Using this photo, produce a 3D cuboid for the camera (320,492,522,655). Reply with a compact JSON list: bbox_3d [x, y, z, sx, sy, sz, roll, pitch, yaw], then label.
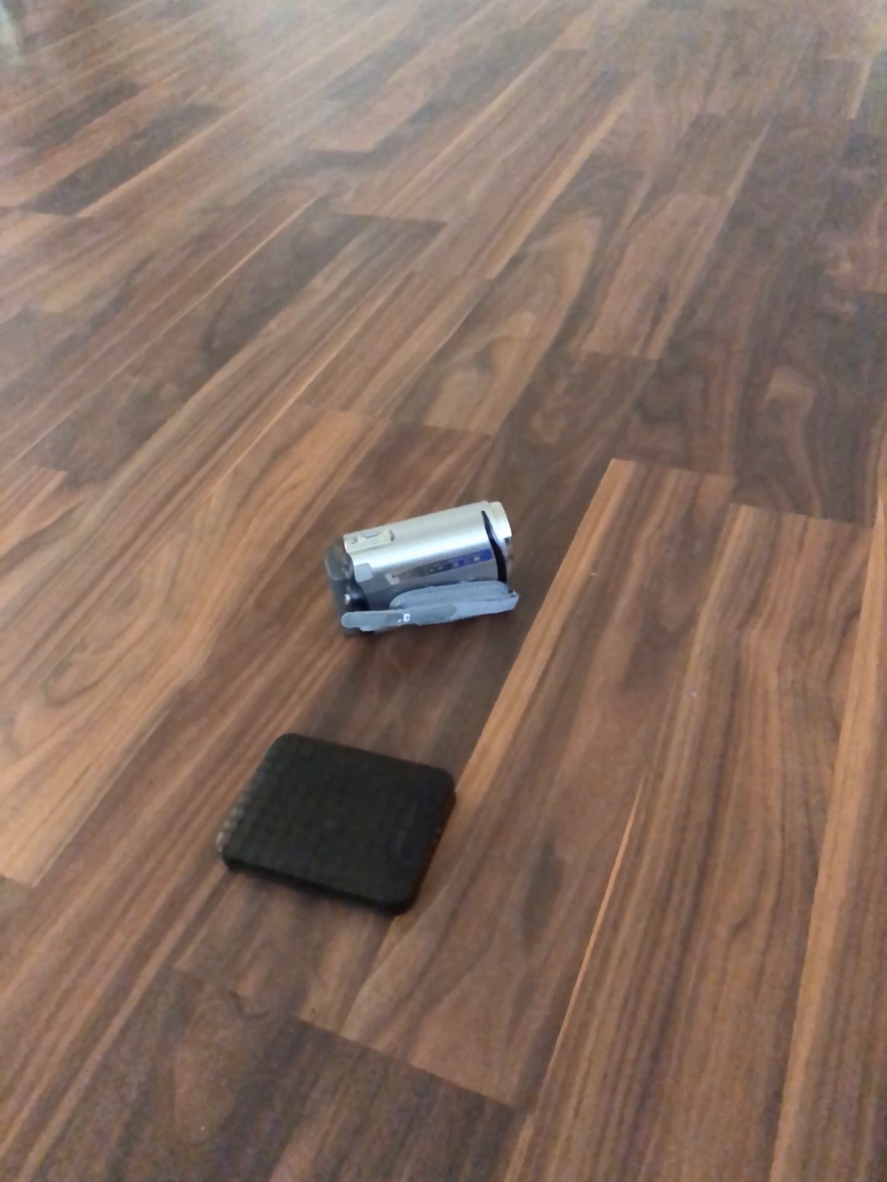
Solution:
[{"bbox_3d":[-0.013,-0.011,0.623,0.115,0.065,0.048,-13,43,-6],"label":"camera"}]
